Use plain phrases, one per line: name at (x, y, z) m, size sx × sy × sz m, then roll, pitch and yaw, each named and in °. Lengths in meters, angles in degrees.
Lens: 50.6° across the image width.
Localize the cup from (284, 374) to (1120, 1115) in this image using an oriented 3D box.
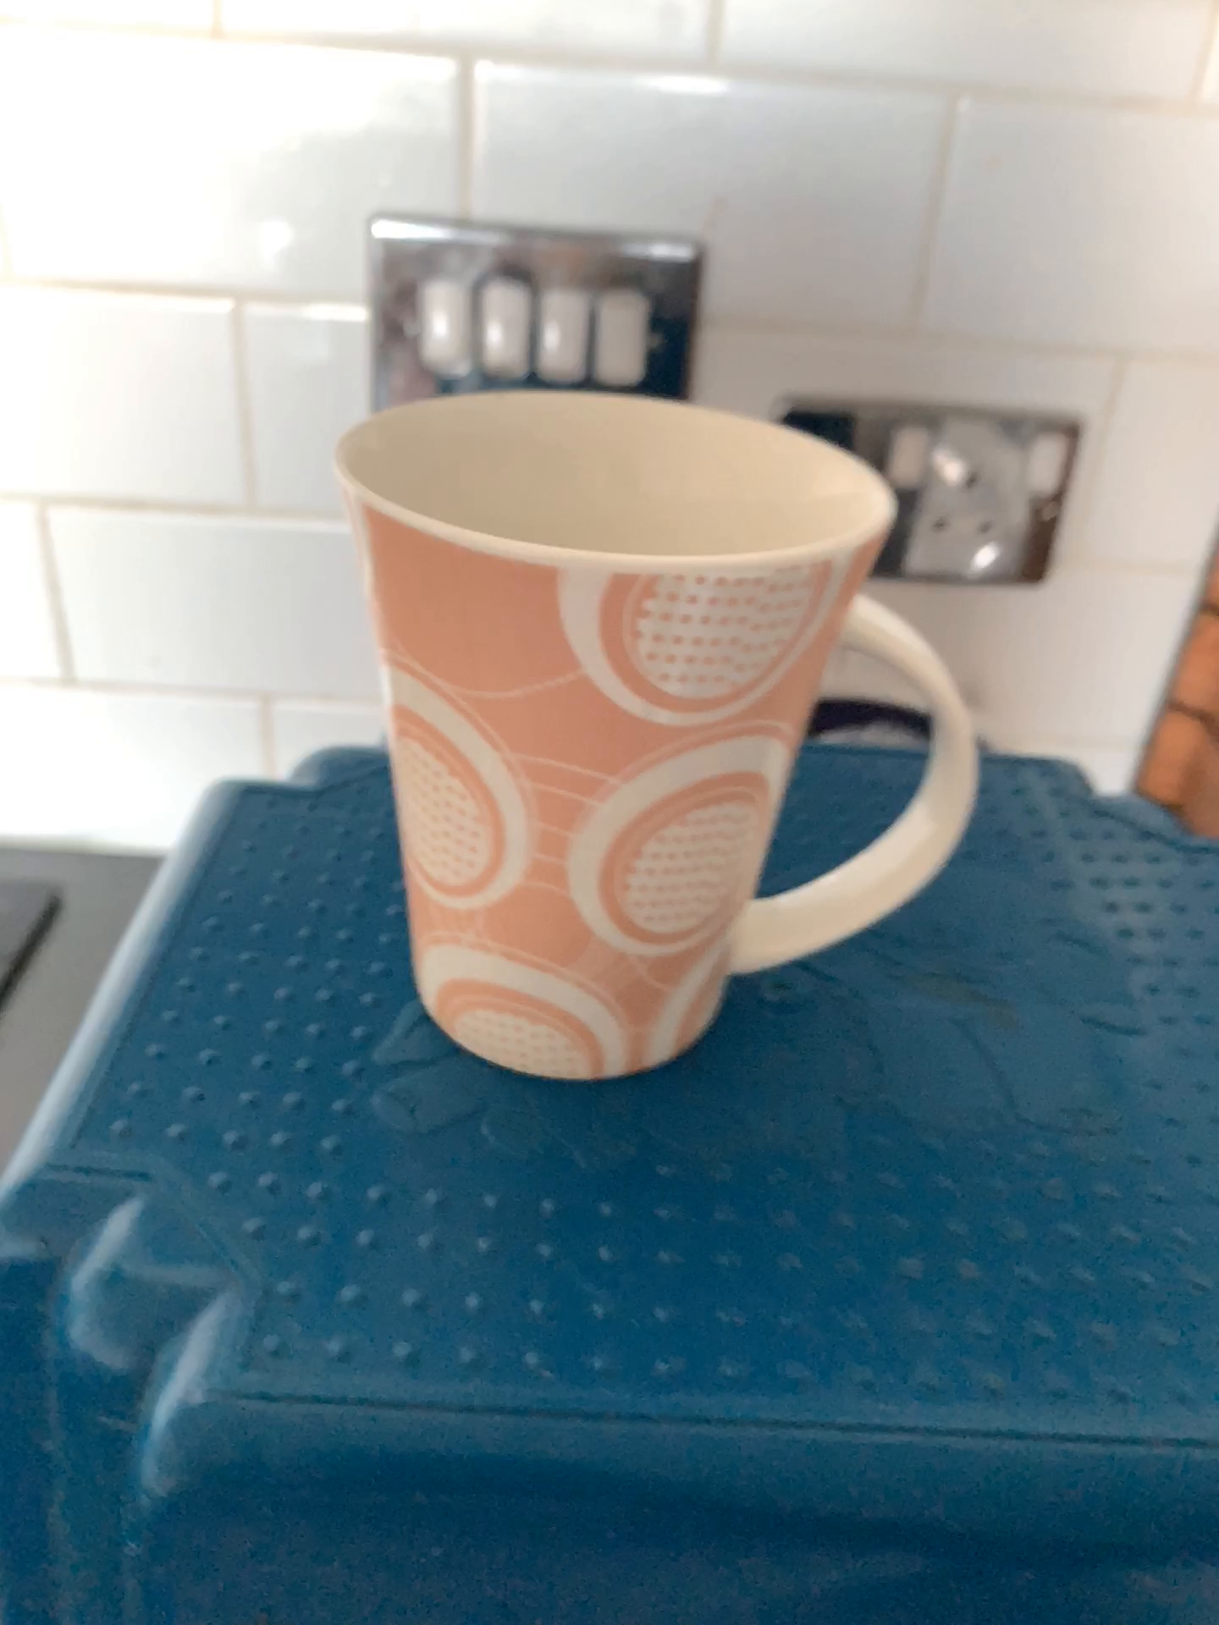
cup at (0.010, -0.014, 0.238) m, size 0.116 × 0.105 × 0.078 m, roll 3°, pitch 32°, yaw -2°
